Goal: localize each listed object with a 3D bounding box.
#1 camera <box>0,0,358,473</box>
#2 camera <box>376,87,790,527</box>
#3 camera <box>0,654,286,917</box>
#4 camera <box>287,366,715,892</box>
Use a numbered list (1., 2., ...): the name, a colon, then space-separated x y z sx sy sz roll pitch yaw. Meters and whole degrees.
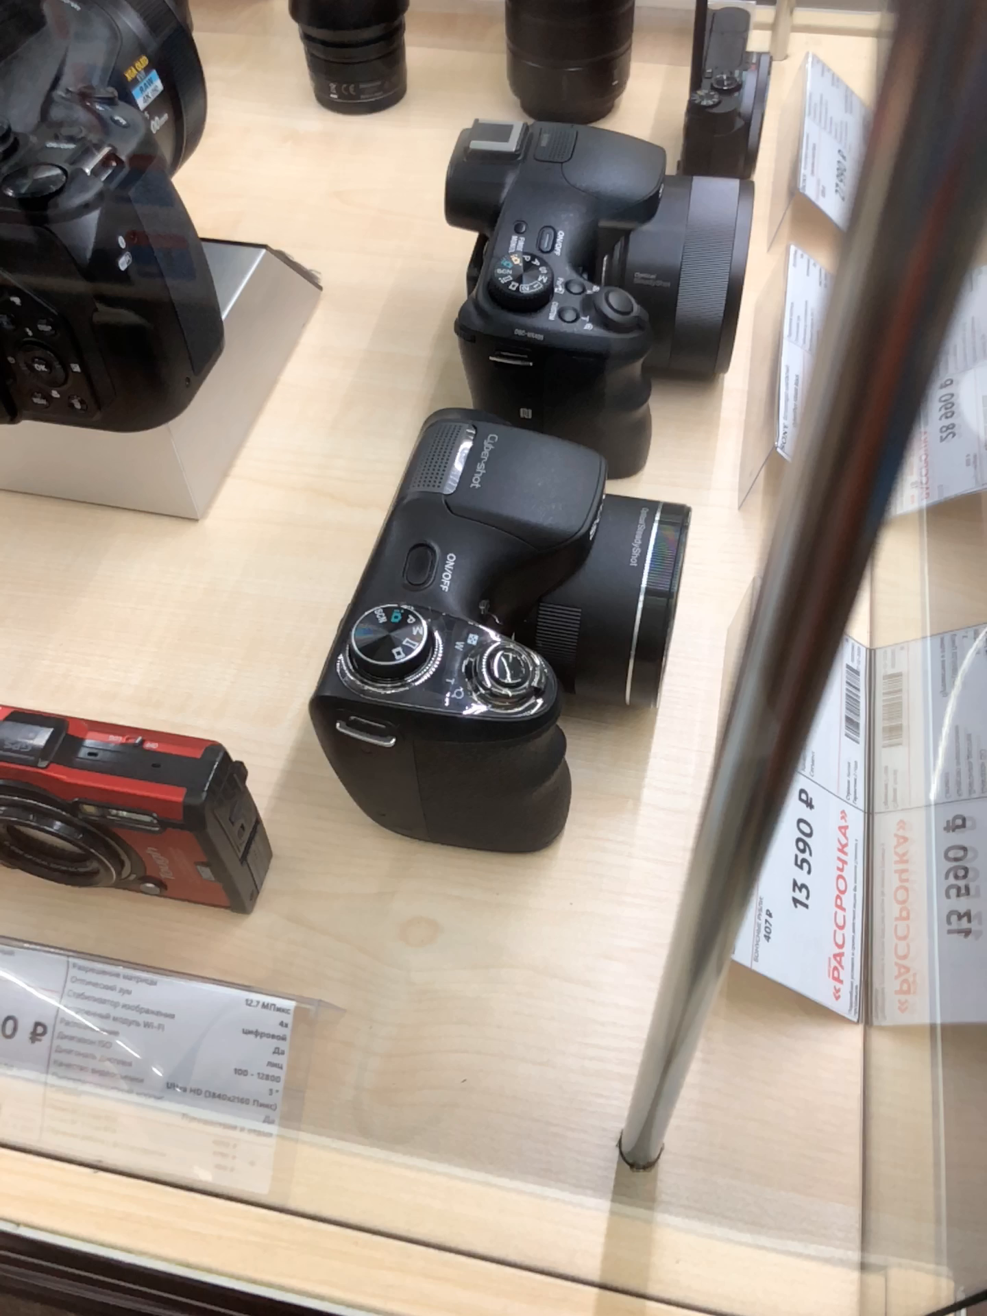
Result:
1. camera: -0.136 -0.162 0.344 0.132 0.106 0.169 8 54 8
2. camera: 0.038 -0.138 0.422 0.125 0.097 0.124 9 54 10
3. camera: -0.121 0.037 0.303 0.111 0.069 0.026 7 54 8
4. camera: 0.009 -0.012 0.328 0.091 0.078 0.124 9 54 10
